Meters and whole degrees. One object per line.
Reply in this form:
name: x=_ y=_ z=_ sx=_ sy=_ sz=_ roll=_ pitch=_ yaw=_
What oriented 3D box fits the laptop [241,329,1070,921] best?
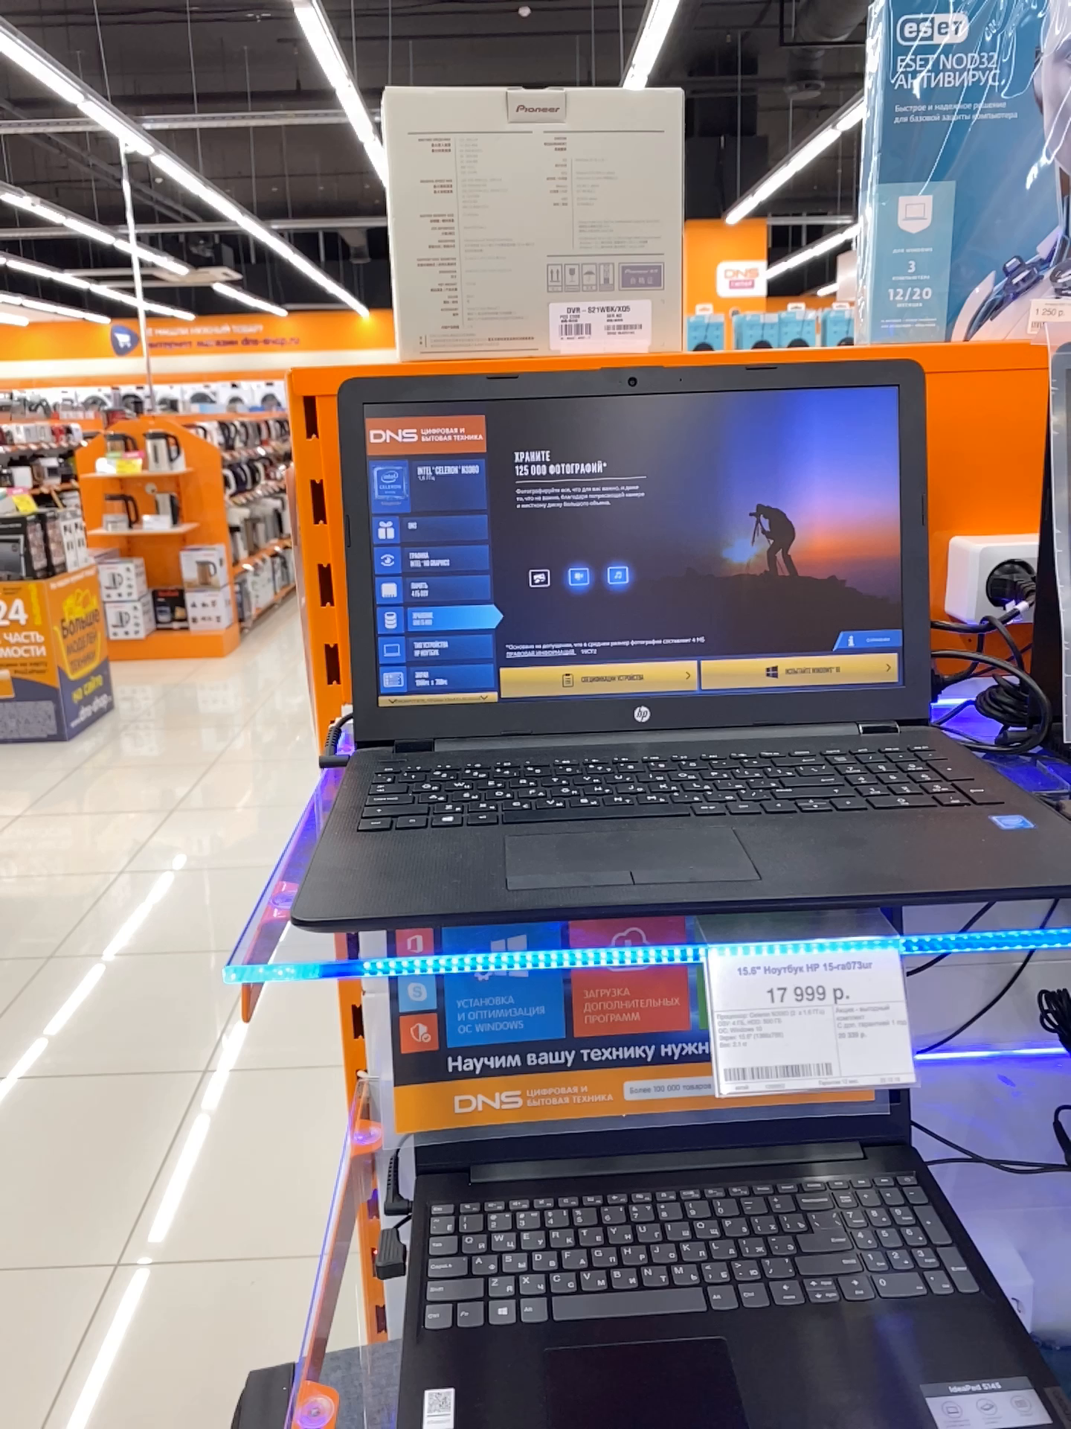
laptop: x=0.074 y=-0.071 z=0.611 sx=0.388 sy=0.236 sz=0.323 roll=-2 pitch=15 yaw=-1
